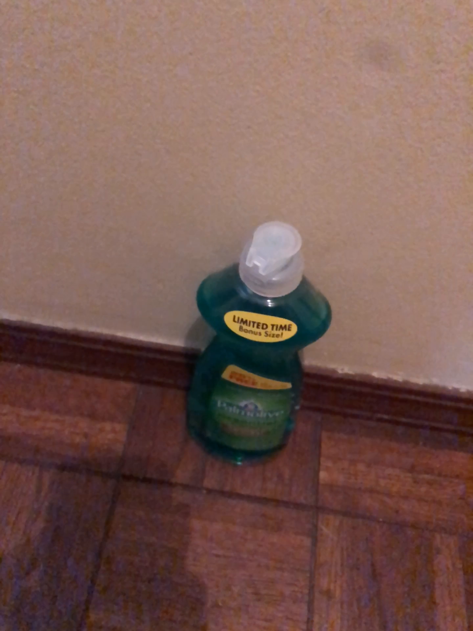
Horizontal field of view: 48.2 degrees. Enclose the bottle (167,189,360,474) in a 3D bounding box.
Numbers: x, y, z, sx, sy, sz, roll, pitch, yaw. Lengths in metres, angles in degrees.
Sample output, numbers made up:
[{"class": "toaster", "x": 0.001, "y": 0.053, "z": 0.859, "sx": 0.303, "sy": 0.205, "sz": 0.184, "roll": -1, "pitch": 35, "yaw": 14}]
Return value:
[{"class": "bottle", "x": 0.006, "y": 0.031, "z": 0.327, "sx": 0.080, "sy": 0.230, "sz": 0.050, "roll": 8, "pitch": 56, "yaw": 1}]
